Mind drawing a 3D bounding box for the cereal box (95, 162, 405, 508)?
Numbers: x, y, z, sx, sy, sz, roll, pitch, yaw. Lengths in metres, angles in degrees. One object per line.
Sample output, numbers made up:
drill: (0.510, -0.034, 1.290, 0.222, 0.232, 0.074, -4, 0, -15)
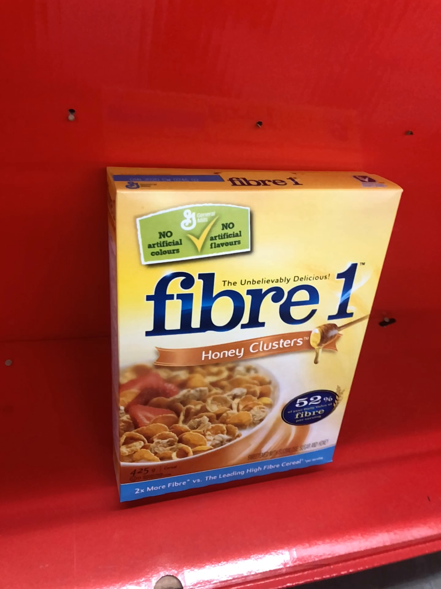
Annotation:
cereal box: (0.012, 0.036, 0.399, 0.210, 0.269, 0.060, -4, 27, -17)
